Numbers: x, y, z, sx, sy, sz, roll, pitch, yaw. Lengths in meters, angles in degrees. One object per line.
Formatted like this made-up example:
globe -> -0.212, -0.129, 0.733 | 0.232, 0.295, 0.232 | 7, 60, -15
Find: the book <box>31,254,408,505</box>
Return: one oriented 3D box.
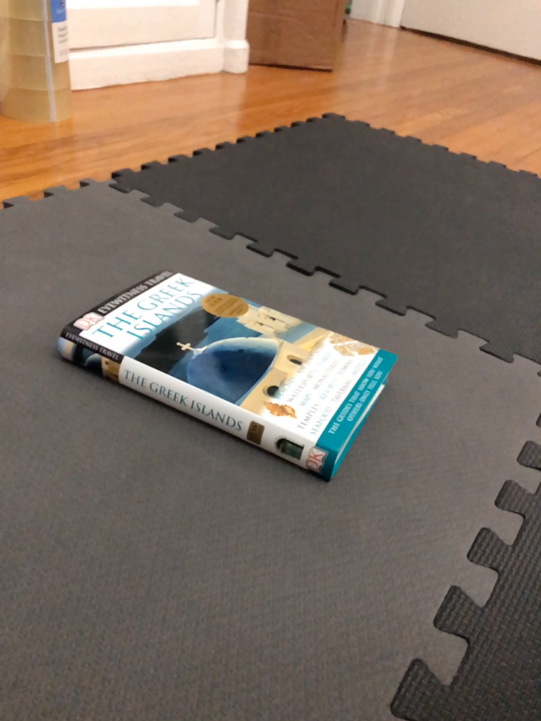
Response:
book -> -0.033, -0.003, 0.468 | 0.240, 0.030, 0.161 | 23, 38, 18
